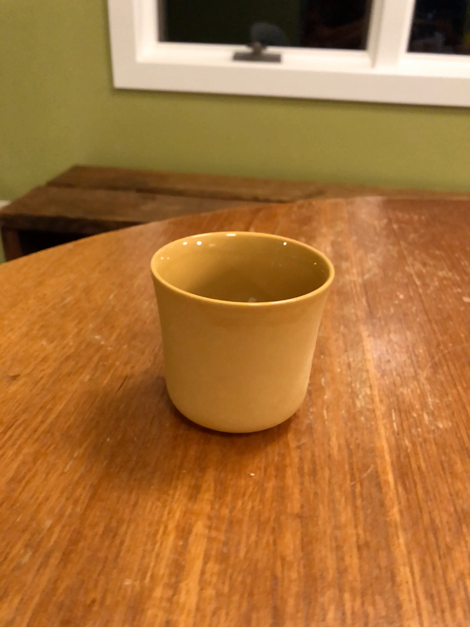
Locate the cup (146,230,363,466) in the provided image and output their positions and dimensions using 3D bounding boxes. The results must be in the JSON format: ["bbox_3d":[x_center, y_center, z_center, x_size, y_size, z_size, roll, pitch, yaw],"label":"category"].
[{"bbox_3d":[0.002,0.011,0.238,0.077,0.073,0.074,2,28,-1],"label":"cup"}]
